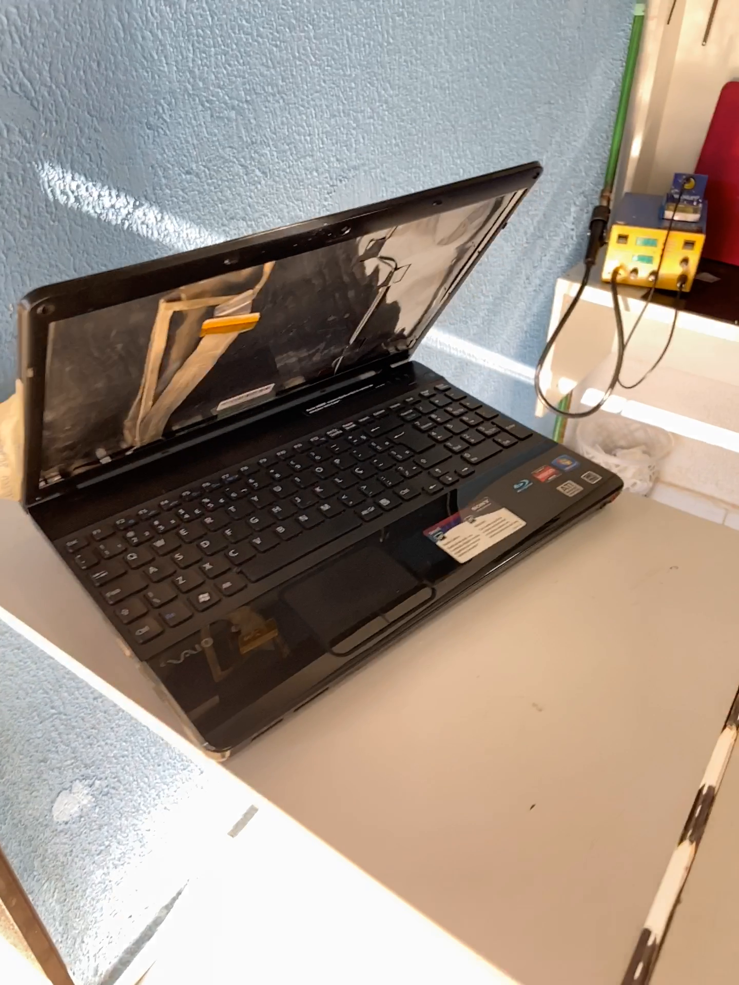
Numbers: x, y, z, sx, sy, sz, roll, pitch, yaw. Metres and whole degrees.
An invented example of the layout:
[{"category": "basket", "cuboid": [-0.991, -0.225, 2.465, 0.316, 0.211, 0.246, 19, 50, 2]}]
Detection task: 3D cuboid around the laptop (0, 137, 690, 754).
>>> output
[{"category": "laptop", "cuboid": [-0.020, -0.076, 0.495, 0.365, 0.193, 0.242, -27, 46, -32]}]
